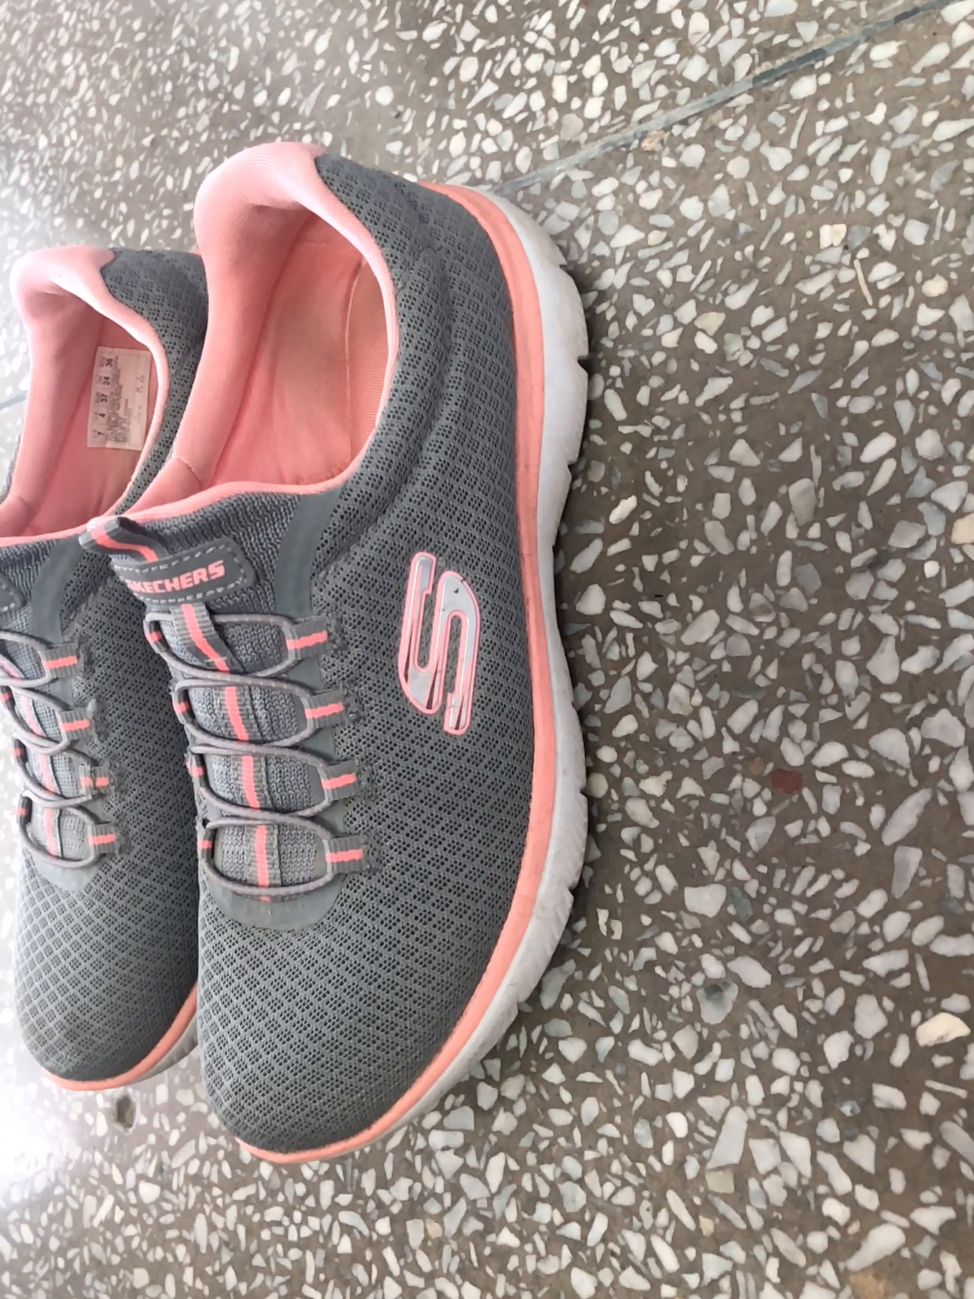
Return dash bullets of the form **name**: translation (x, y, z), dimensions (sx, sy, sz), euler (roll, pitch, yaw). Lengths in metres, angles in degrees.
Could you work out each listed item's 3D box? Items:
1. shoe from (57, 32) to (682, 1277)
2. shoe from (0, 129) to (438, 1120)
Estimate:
- **shoe**: translation (-0.023, 0.001, 0.267), dimensions (0.090, 0.100, 0.230), euler (2, 85, 36)
- **shoe**: translation (-0.090, -0.006, 0.328), dimensions (0.090, 0.100, 0.240), euler (2, 85, 36)
